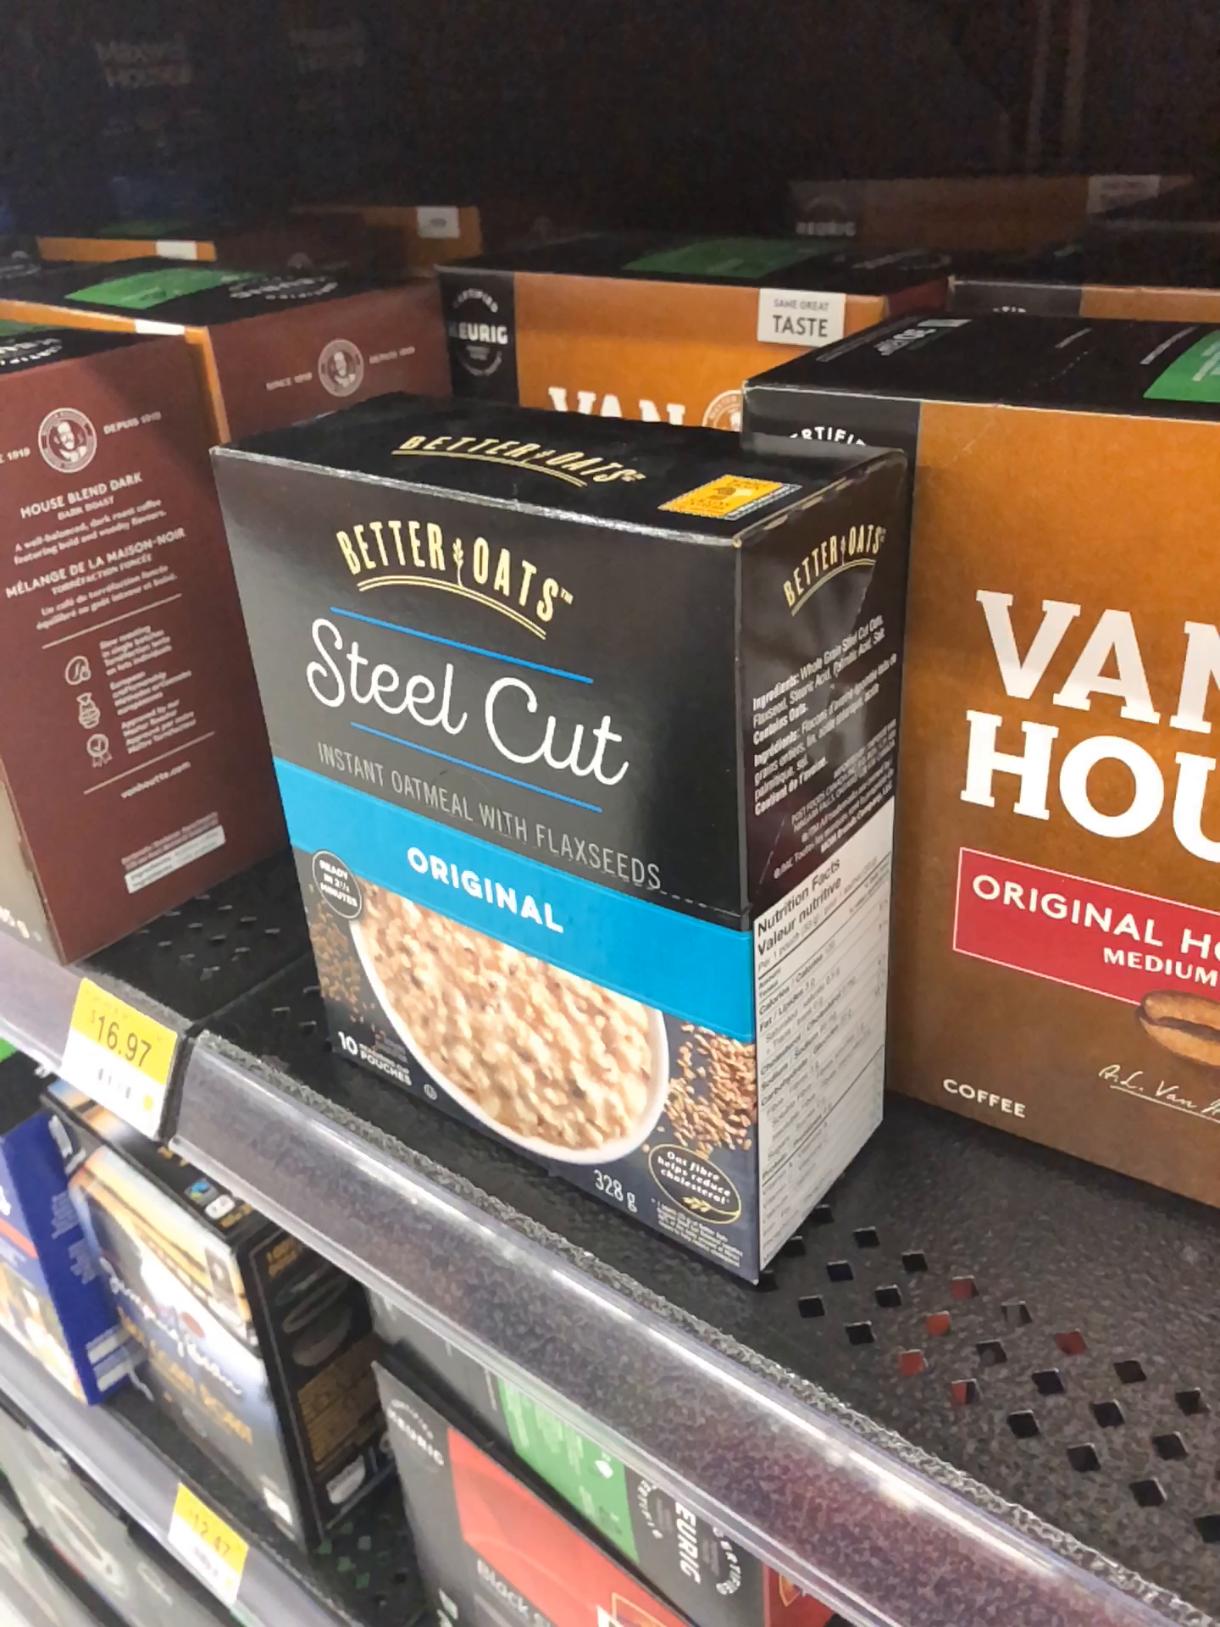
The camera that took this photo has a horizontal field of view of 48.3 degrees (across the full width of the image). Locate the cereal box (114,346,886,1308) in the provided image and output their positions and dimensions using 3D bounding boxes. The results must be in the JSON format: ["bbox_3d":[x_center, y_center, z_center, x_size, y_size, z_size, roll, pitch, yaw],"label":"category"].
[{"bbox_3d":[-0.021,-0.003,0.313,0.150,0.179,0.060,19,38,34],"label":"cereal box"}]
